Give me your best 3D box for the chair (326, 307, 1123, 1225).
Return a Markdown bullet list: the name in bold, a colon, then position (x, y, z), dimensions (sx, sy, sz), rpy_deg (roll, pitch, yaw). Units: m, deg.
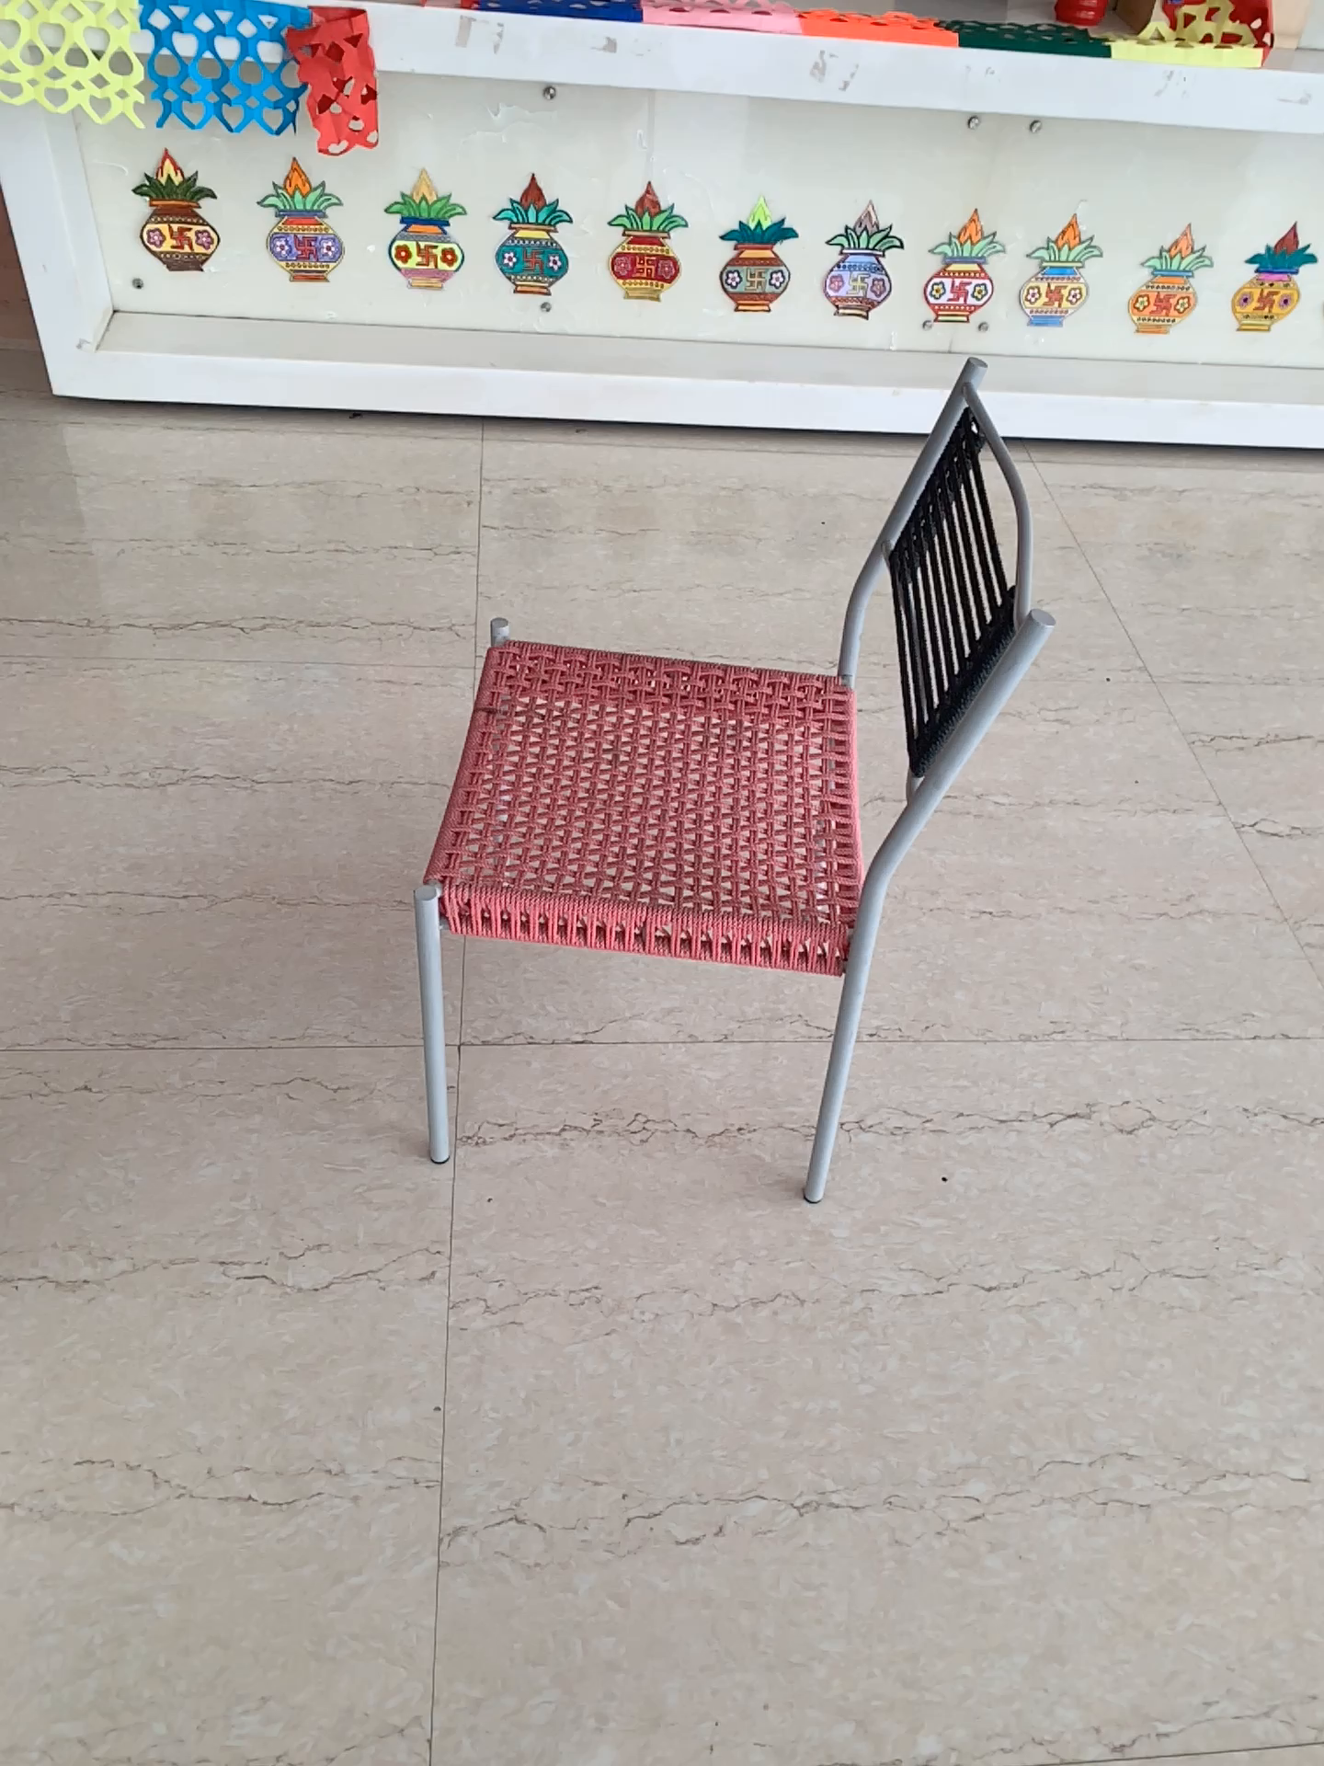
- **chair**: position (0.034, -0.102, 1.421), dimensions (0.580, 0.734, 0.534), rpy_deg (6, 44, 0)
